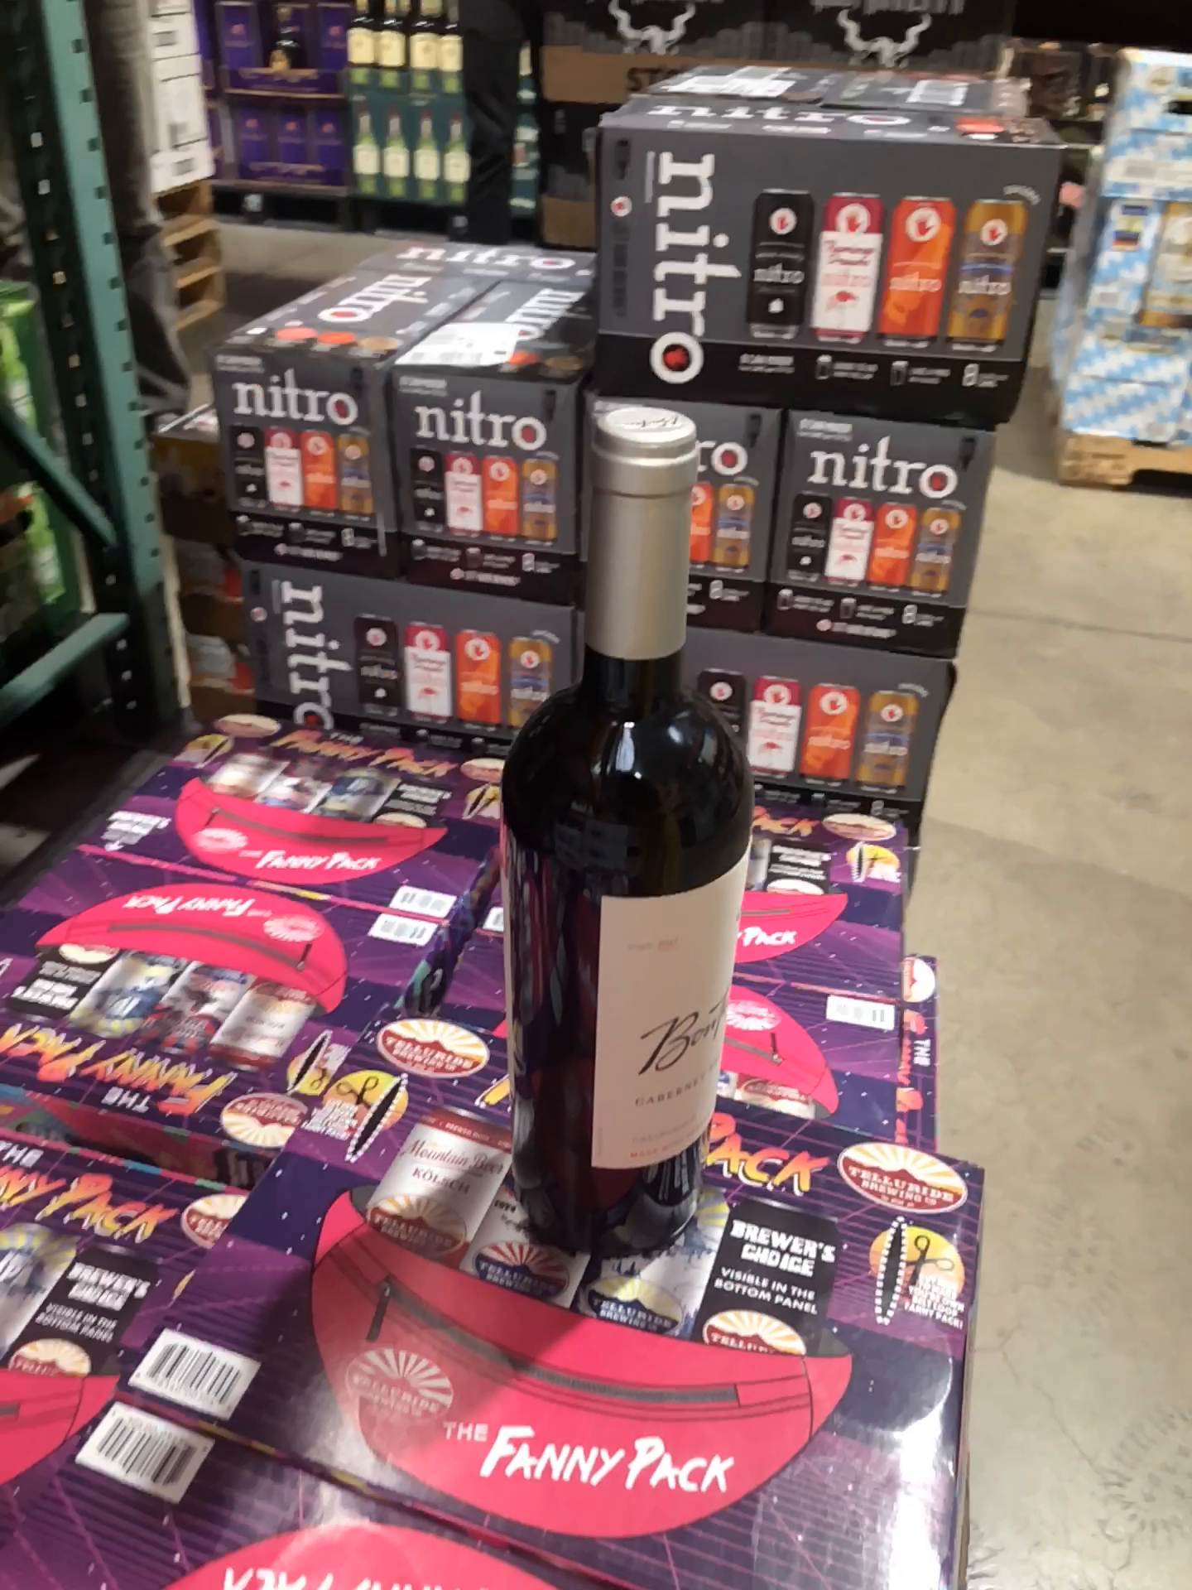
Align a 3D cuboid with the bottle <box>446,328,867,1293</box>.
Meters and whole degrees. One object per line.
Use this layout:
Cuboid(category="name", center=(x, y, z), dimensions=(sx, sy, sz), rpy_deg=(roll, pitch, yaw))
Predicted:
Cuboid(category="bottle", center=(0.013, 0.018, 0.423), dimensions=(0.080, 0.298, 0.080), rpy_deg=(2, 33, -1))
